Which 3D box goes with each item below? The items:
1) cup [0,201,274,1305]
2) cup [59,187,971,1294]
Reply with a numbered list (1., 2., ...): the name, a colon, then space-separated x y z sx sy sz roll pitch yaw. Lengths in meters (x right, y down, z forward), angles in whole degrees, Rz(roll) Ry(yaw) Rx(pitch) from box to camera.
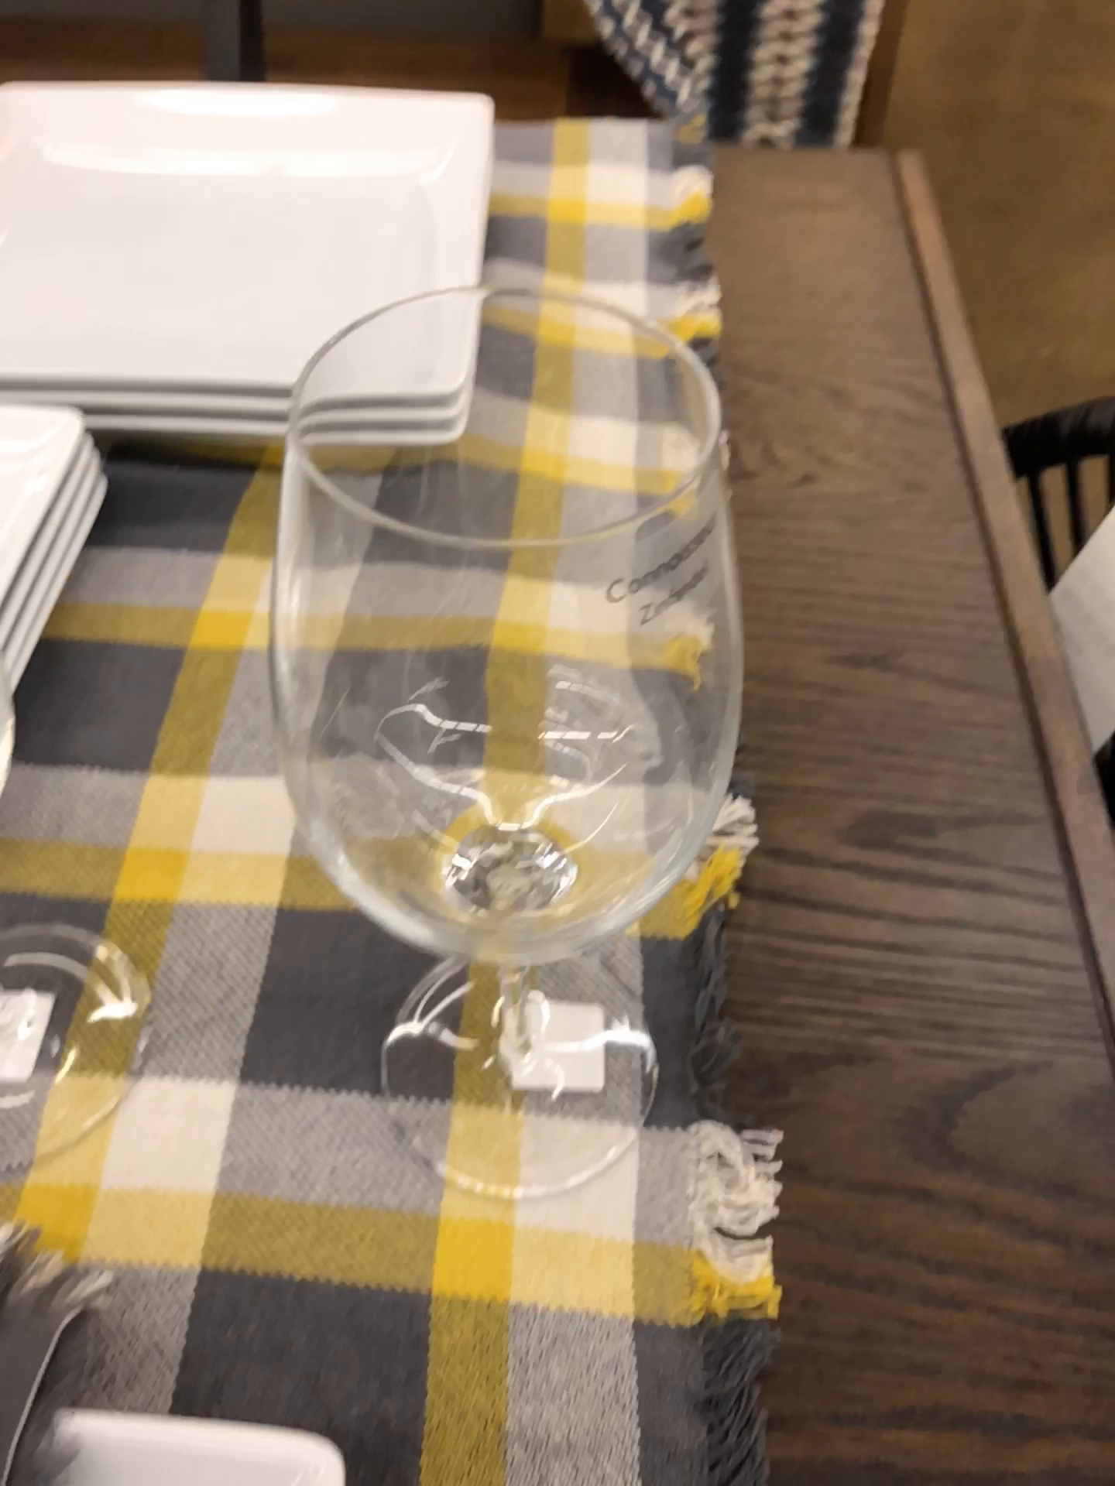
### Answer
1. cup: -0.140 0.015 0.254 0.097 0.193 0.092 1 49 -1
2. cup: -0.008 0.012 0.254 0.097 0.192 0.092 1 49 -1
